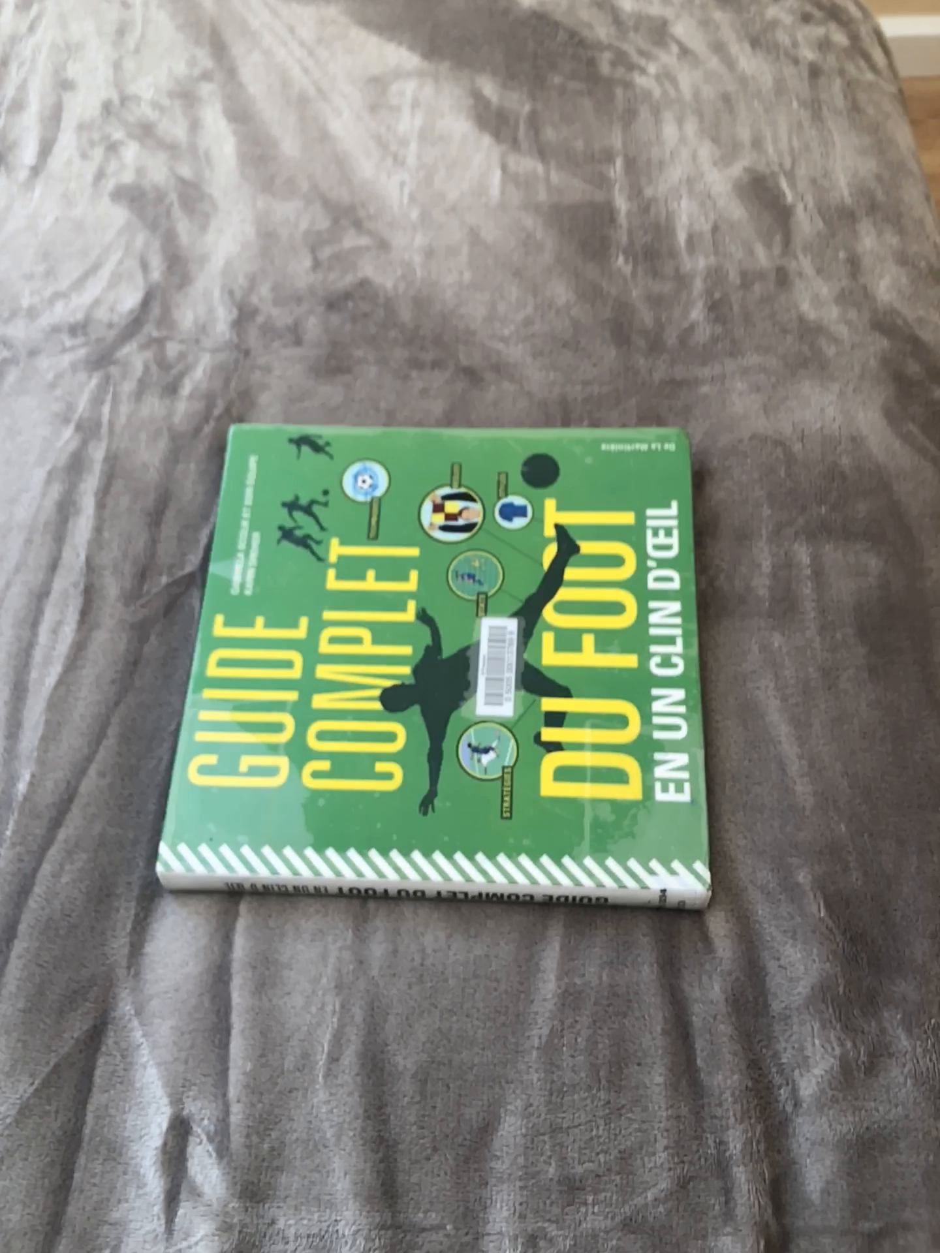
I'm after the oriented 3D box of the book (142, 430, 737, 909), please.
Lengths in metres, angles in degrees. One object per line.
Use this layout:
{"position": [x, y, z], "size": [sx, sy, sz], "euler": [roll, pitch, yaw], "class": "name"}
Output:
{"position": [-0.010, 0.009, 0.475], "size": [0.238, 0.019, 0.228], "euler": [1, 63, 3], "class": "book"}
